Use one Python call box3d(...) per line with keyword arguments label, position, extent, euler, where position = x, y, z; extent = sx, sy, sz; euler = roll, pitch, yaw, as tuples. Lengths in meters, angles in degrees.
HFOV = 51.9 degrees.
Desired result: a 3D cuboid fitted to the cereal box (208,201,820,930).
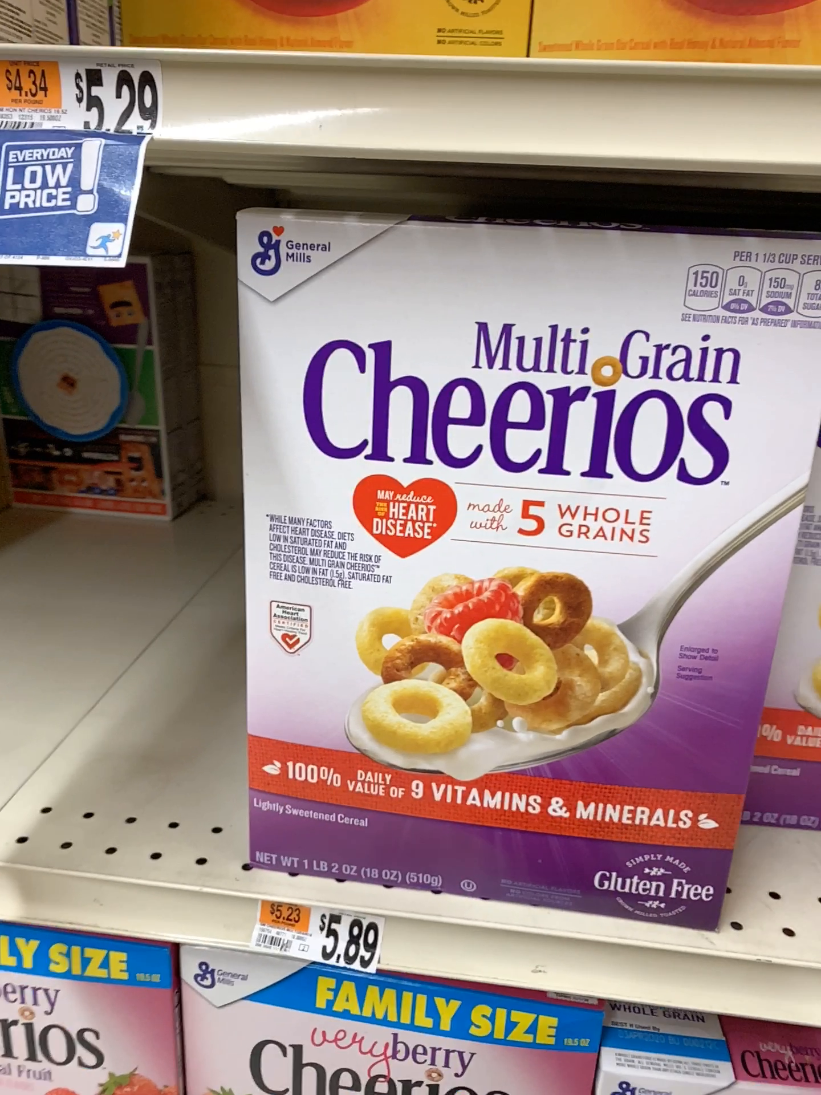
box3d(label="cereal box", position=(0.040, 0.012, 0.406), extent=(0.250, 0.319, 0.070), euler=(5, 19, 6))
